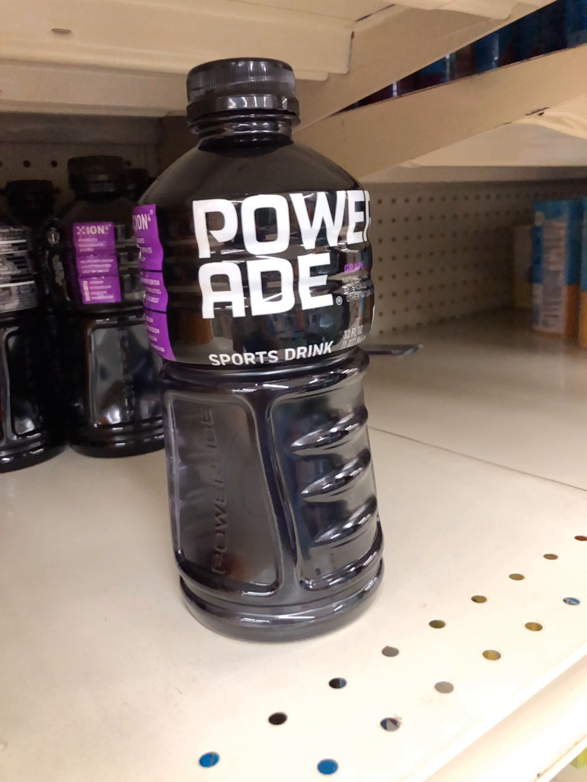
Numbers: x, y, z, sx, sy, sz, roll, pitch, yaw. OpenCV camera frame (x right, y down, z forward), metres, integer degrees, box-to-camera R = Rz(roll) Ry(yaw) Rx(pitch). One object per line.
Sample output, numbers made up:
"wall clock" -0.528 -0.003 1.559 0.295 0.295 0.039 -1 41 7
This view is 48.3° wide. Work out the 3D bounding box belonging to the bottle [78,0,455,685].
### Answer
"bottle" -0.006 -0.021 0.255 0.098 0.210 0.090 -3 15 1
